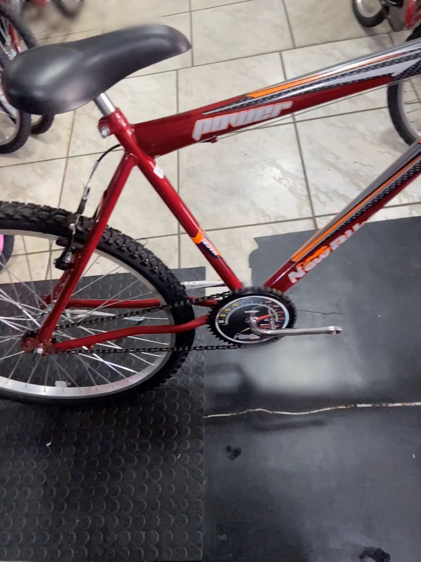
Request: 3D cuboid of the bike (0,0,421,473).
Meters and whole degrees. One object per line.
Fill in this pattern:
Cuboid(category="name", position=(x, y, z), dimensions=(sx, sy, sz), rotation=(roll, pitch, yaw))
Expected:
Cuboid(category="bike", position=(-0.001, -0.228, 0.779), dimensions=(1.582, 1.031, 0.568), rotation=(-17, 58, 4))
